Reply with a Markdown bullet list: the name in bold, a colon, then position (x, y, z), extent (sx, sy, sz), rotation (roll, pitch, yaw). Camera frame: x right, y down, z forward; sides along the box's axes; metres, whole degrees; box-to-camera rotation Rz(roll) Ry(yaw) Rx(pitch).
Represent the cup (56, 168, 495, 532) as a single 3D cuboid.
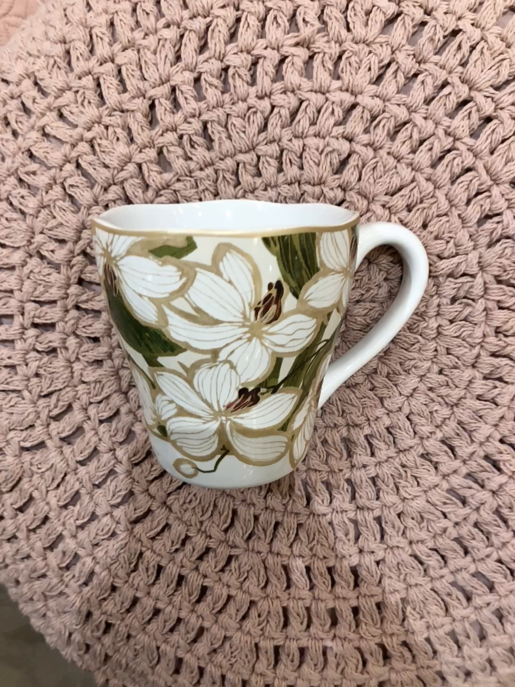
- **cup**: position (0.005, -0.007, 0.243), extent (0.140, 0.090, 0.120), rotation (-4, 109, -6)
